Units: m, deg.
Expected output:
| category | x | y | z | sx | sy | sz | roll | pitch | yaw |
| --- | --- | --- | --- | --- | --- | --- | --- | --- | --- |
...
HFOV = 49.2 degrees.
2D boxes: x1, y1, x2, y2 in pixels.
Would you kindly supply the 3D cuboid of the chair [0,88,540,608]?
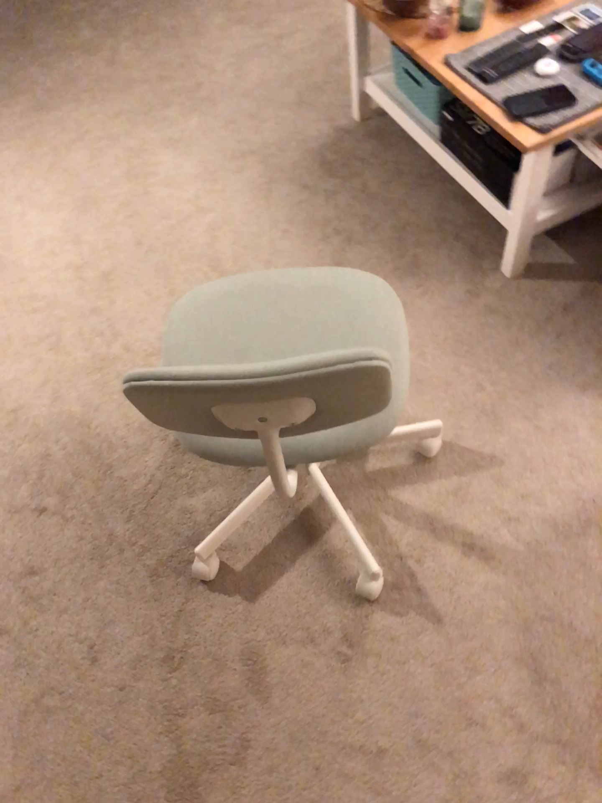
| category | x | y | z | sx | sy | sz | roll | pitch | yaw |
| --- | --- | --- | --- | --- | --- | --- | --- | --- | --- |
| chair | -0.020 | -0.044 | 1.204 | 0.660 | 0.677 | 0.643 | -1 | 57 | 6 |
